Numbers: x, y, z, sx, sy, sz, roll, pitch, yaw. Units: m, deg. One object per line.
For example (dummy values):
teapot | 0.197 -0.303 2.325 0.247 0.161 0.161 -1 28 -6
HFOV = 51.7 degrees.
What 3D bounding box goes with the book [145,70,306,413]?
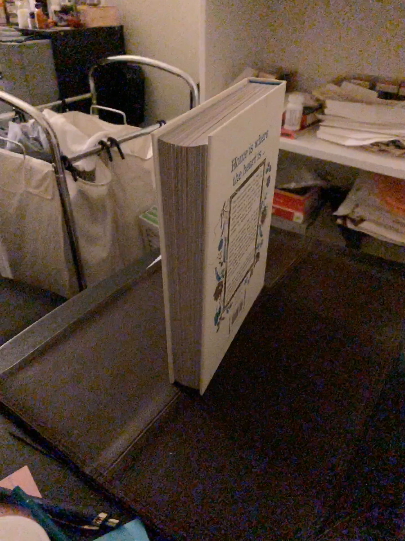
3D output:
book | 0.031 -0.034 0.415 0.050 0.268 0.211 16 37 21
